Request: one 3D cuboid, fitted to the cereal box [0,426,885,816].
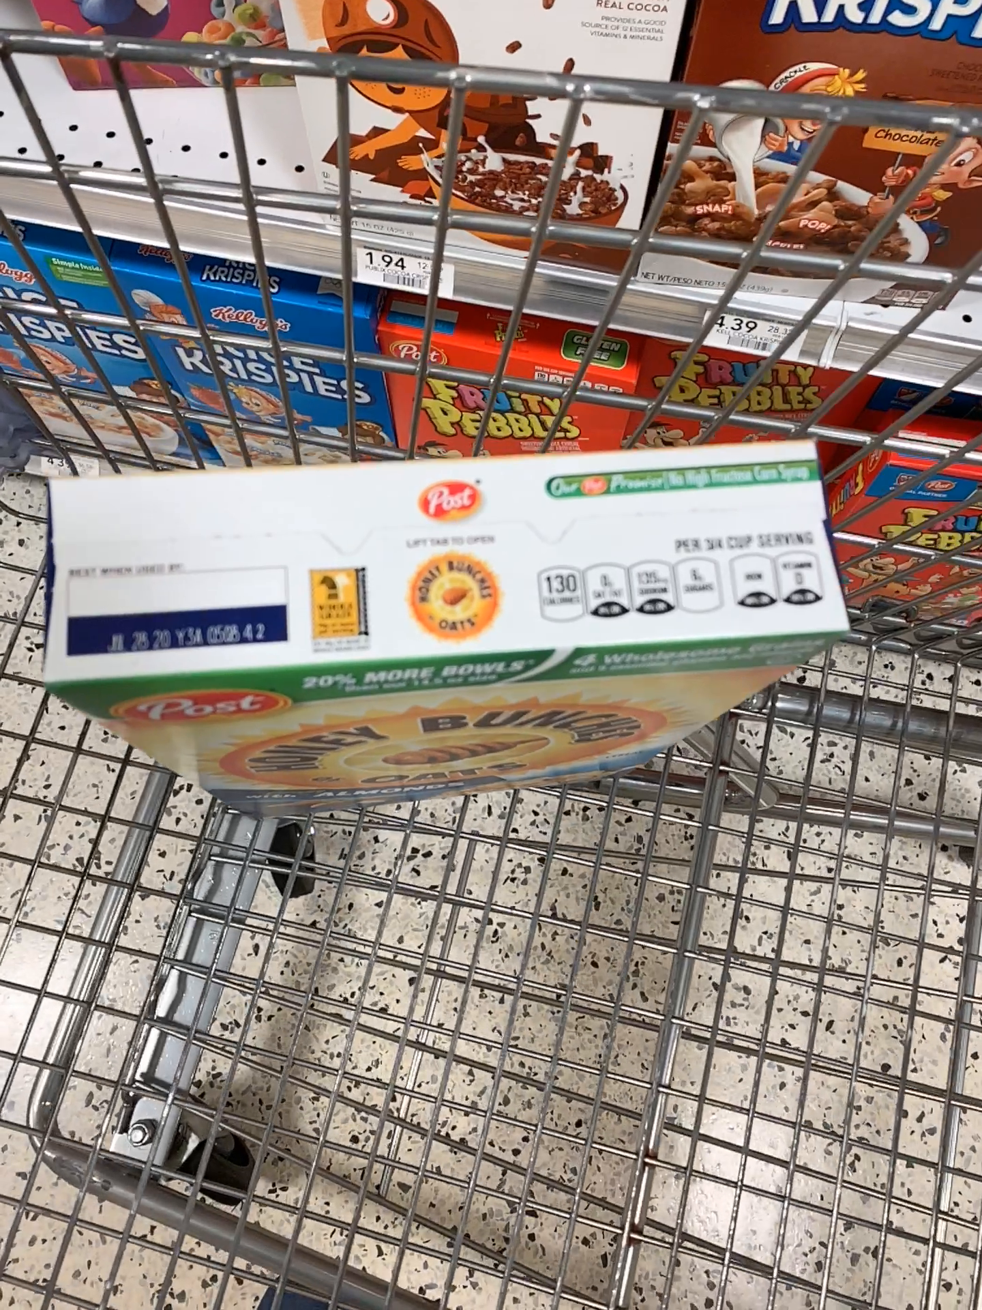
[{"bbox_3d":[-0.021,0.014,0.382,0.210,0.309,0.060,-3,77,-3],"label":"cereal box"}]
